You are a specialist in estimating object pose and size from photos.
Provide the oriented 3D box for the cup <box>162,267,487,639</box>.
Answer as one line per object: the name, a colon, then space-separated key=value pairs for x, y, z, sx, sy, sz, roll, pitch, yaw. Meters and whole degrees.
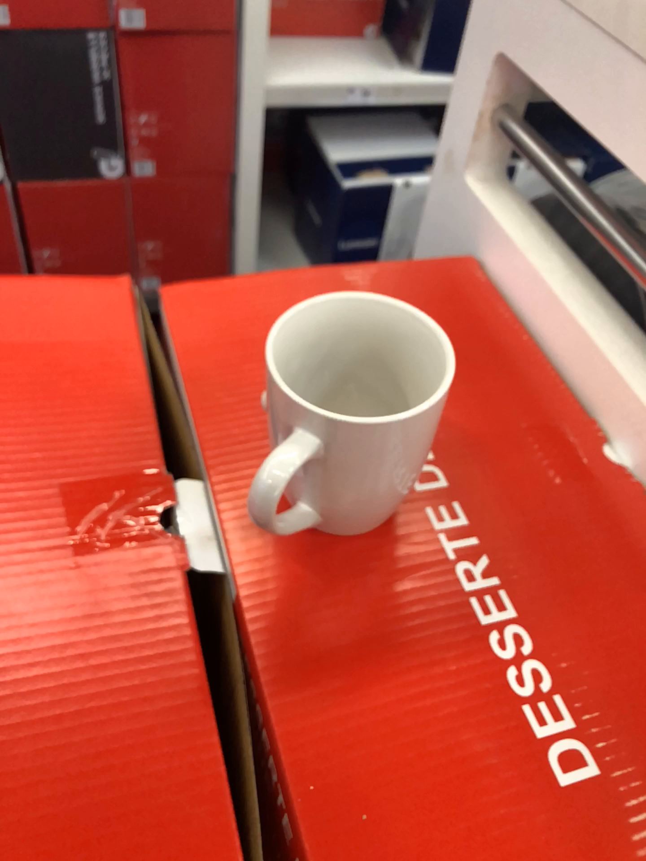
cup: x=0.001 y=0.006 z=0.346 sx=0.092 sy=0.092 sz=0.124 roll=27 pitch=50 yaw=15
